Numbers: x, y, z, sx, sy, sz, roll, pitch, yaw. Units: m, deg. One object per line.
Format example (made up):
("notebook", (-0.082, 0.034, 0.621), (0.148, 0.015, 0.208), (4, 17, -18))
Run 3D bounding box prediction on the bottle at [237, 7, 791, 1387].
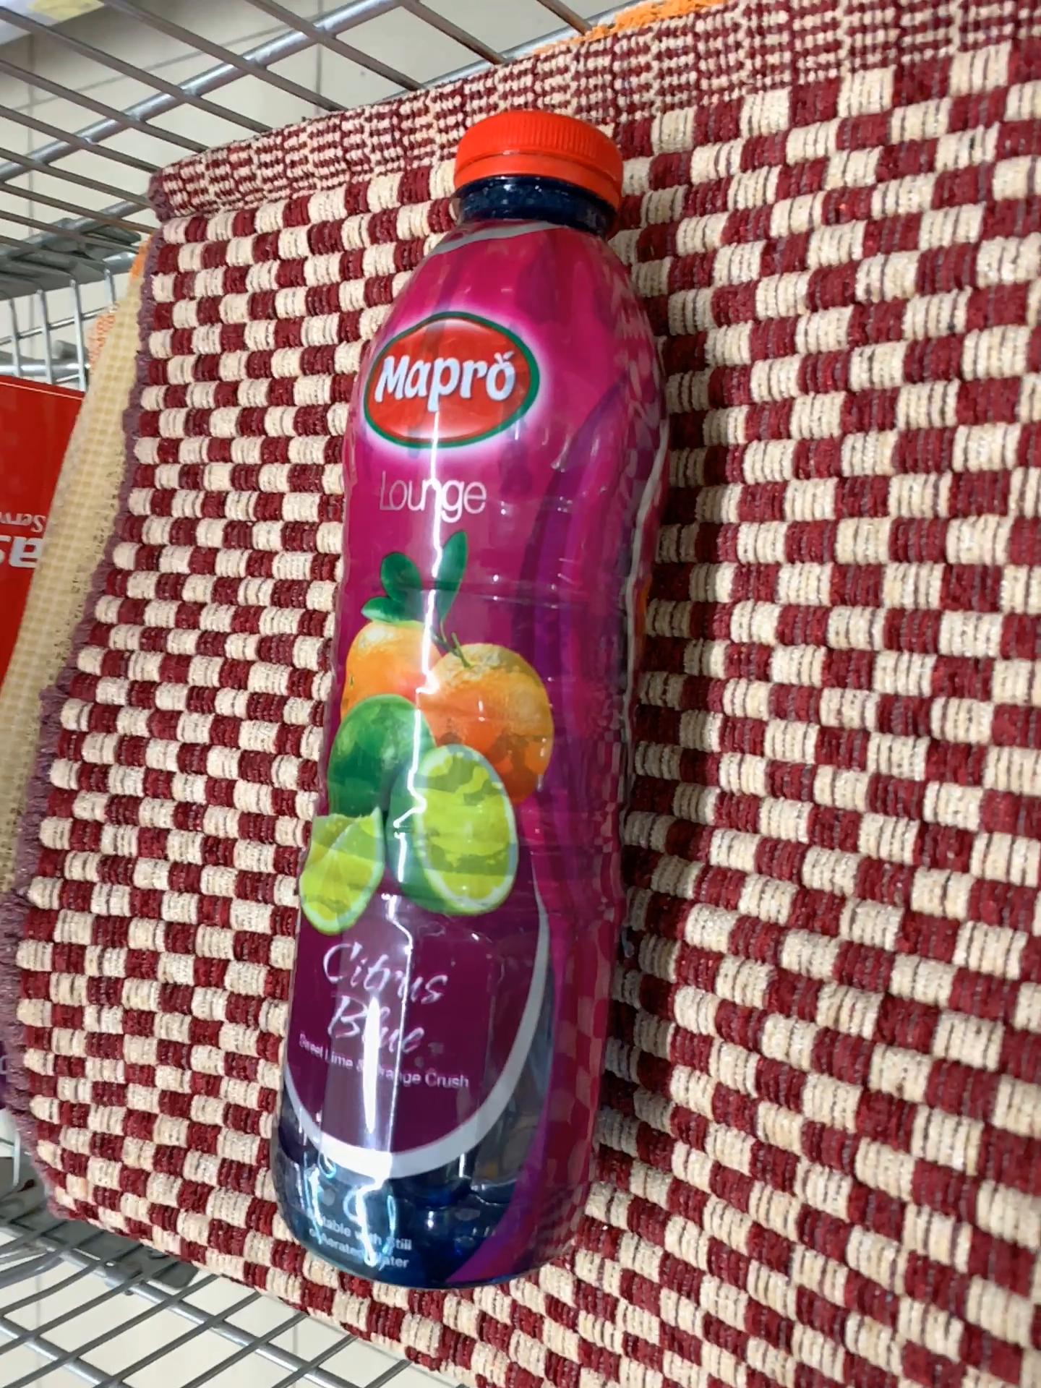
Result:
("bottle", (-0.002, 0.005, 0.239), (0.090, 0.070, 0.250), (6, 97, 23))
